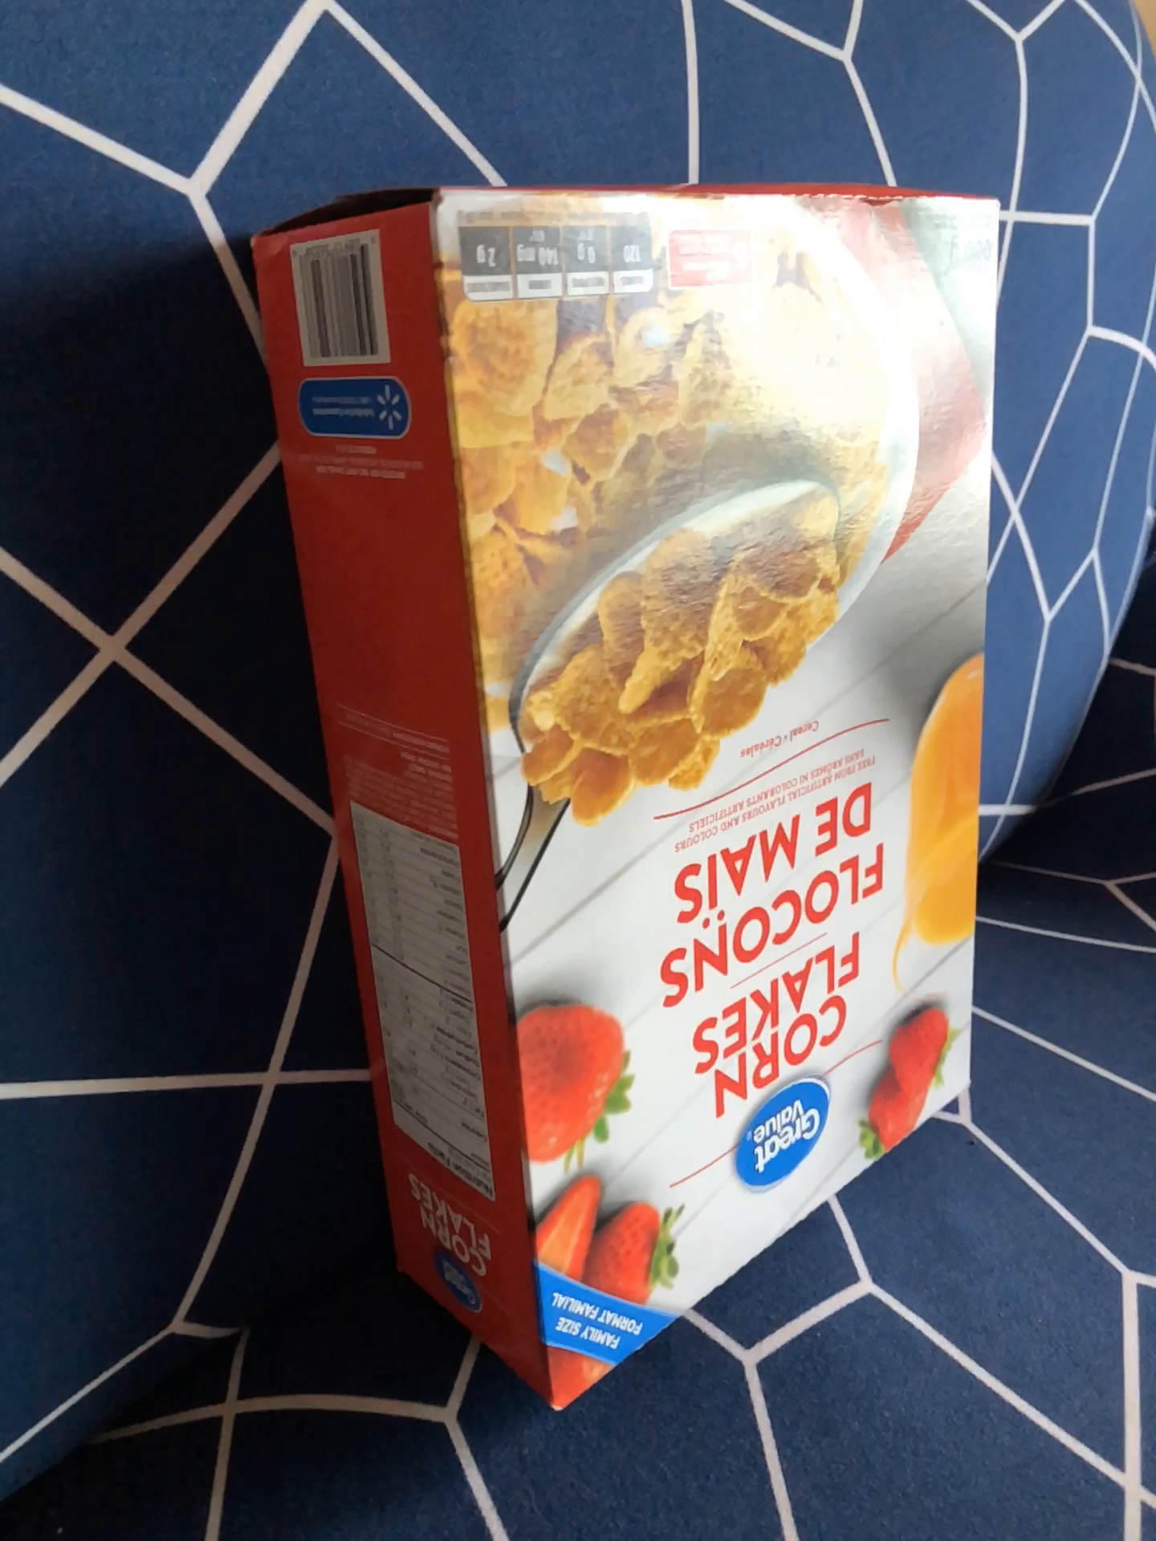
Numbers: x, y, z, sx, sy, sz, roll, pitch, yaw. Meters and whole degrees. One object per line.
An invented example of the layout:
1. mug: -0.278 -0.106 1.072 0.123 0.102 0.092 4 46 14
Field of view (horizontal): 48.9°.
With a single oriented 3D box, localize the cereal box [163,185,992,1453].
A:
1. cereal box: 0.025 -0.004 0.403 0.221 0.319 0.100 -20 22 -37
